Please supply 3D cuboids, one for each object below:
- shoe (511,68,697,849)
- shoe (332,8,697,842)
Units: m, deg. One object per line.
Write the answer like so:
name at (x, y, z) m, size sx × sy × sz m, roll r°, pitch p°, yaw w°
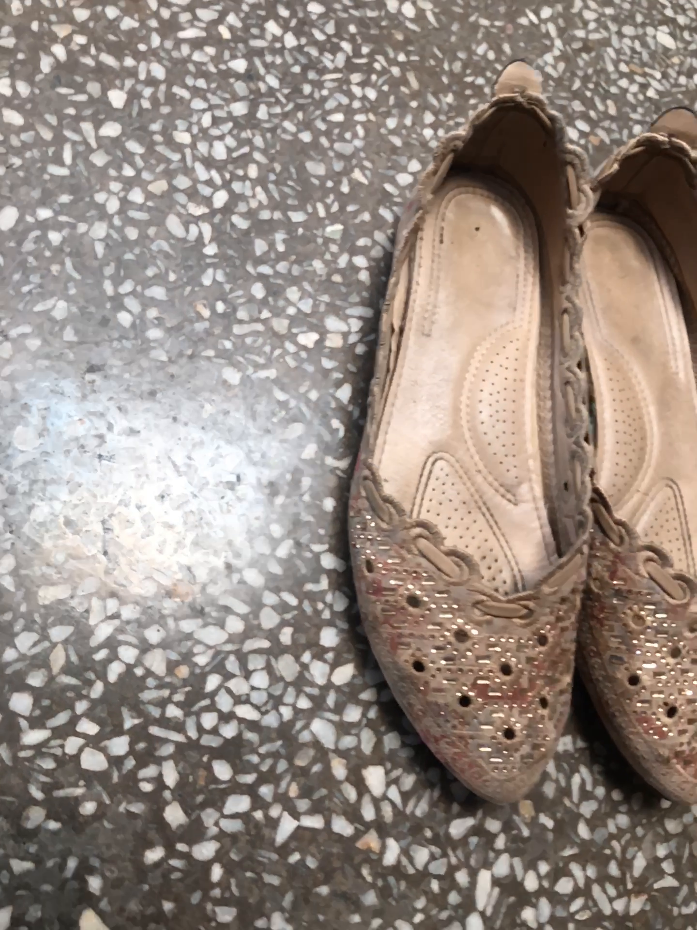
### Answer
shoe at (0.129, -0.008, 0.291) m, size 0.089 × 0.068 × 0.254 m, roll 2°, pitch 75°, yaw -17°
shoe at (0.049, -0.017, 0.271) m, size 0.089 × 0.068 × 0.254 m, roll 6°, pitch 74°, yaw -16°
